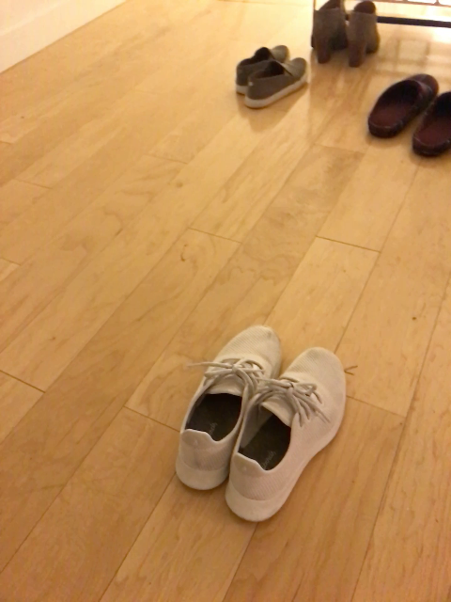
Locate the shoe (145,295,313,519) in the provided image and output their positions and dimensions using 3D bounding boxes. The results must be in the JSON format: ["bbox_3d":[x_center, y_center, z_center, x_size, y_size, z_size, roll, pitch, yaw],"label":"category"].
[{"bbox_3d":[0.019,0.134,0.695,0.130,0.089,0.282,14,50,19],"label":"shoe"}]

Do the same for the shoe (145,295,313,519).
[{"bbox_3d":[0.019,0.134,0.695,0.130,0.089,0.282,14,50,19],"label":"shoe"}]

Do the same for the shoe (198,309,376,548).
[{"bbox_3d":[0.091,0.147,0.640,0.120,0.070,0.282,19,52,22],"label":"shoe"}]
